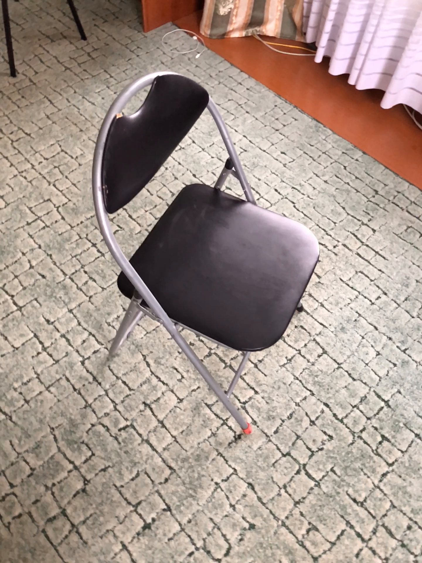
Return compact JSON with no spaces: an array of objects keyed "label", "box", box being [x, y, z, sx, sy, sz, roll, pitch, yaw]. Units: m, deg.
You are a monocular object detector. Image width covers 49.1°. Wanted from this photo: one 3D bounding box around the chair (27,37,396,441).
[{"label":"chair","box":[0.010,-0.040,1.089,0.475,0.732,0.458,23,58,12]}]
